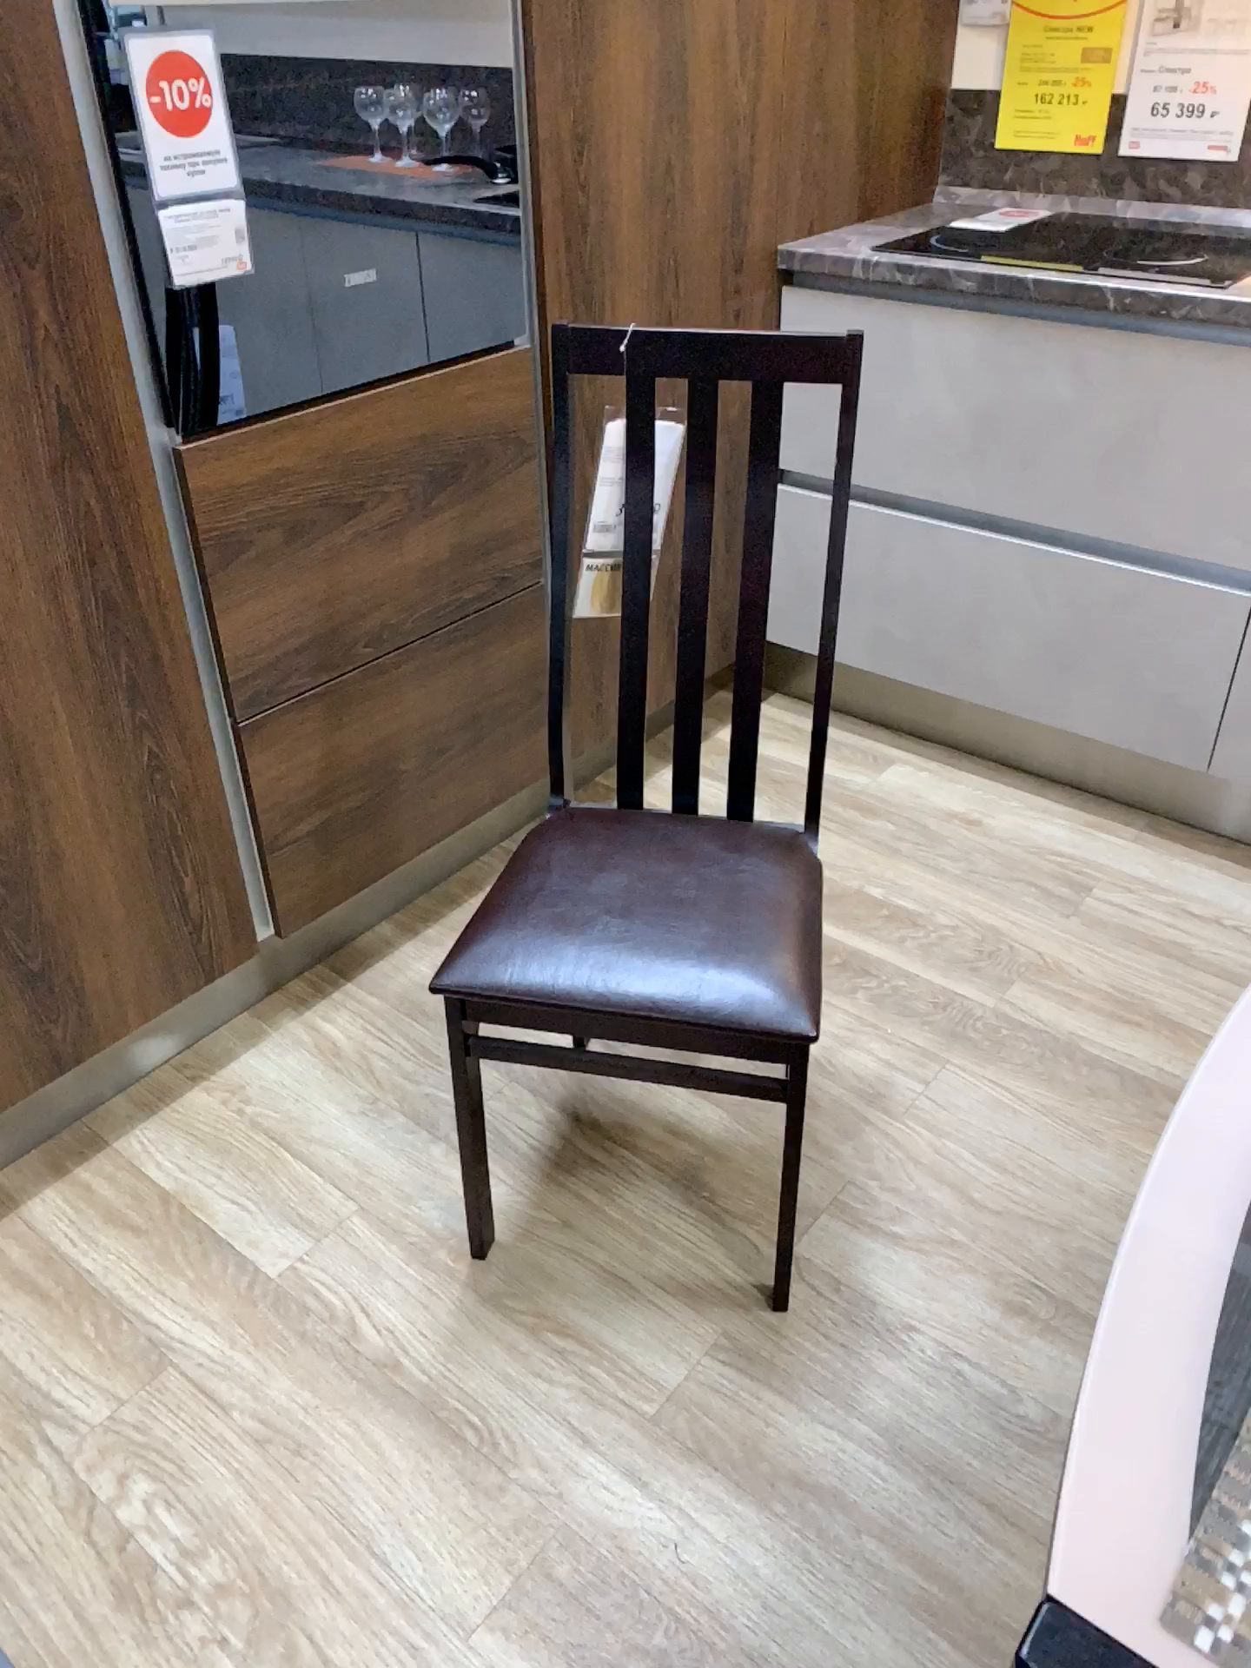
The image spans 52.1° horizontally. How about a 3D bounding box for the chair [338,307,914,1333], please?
[{"bbox_3d":[0.047,-0.003,1.466,0.430,1.014,0.523,6,35,11],"label":"chair"}]
